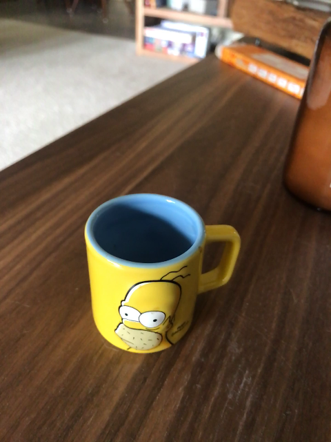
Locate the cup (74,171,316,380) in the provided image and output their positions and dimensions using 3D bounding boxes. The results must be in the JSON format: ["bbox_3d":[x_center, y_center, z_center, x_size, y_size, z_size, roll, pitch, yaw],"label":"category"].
[{"bbox_3d":[0.008,0.021,0.178,0.090,0.060,0.060,-8,39,-16],"label":"cup"}]
